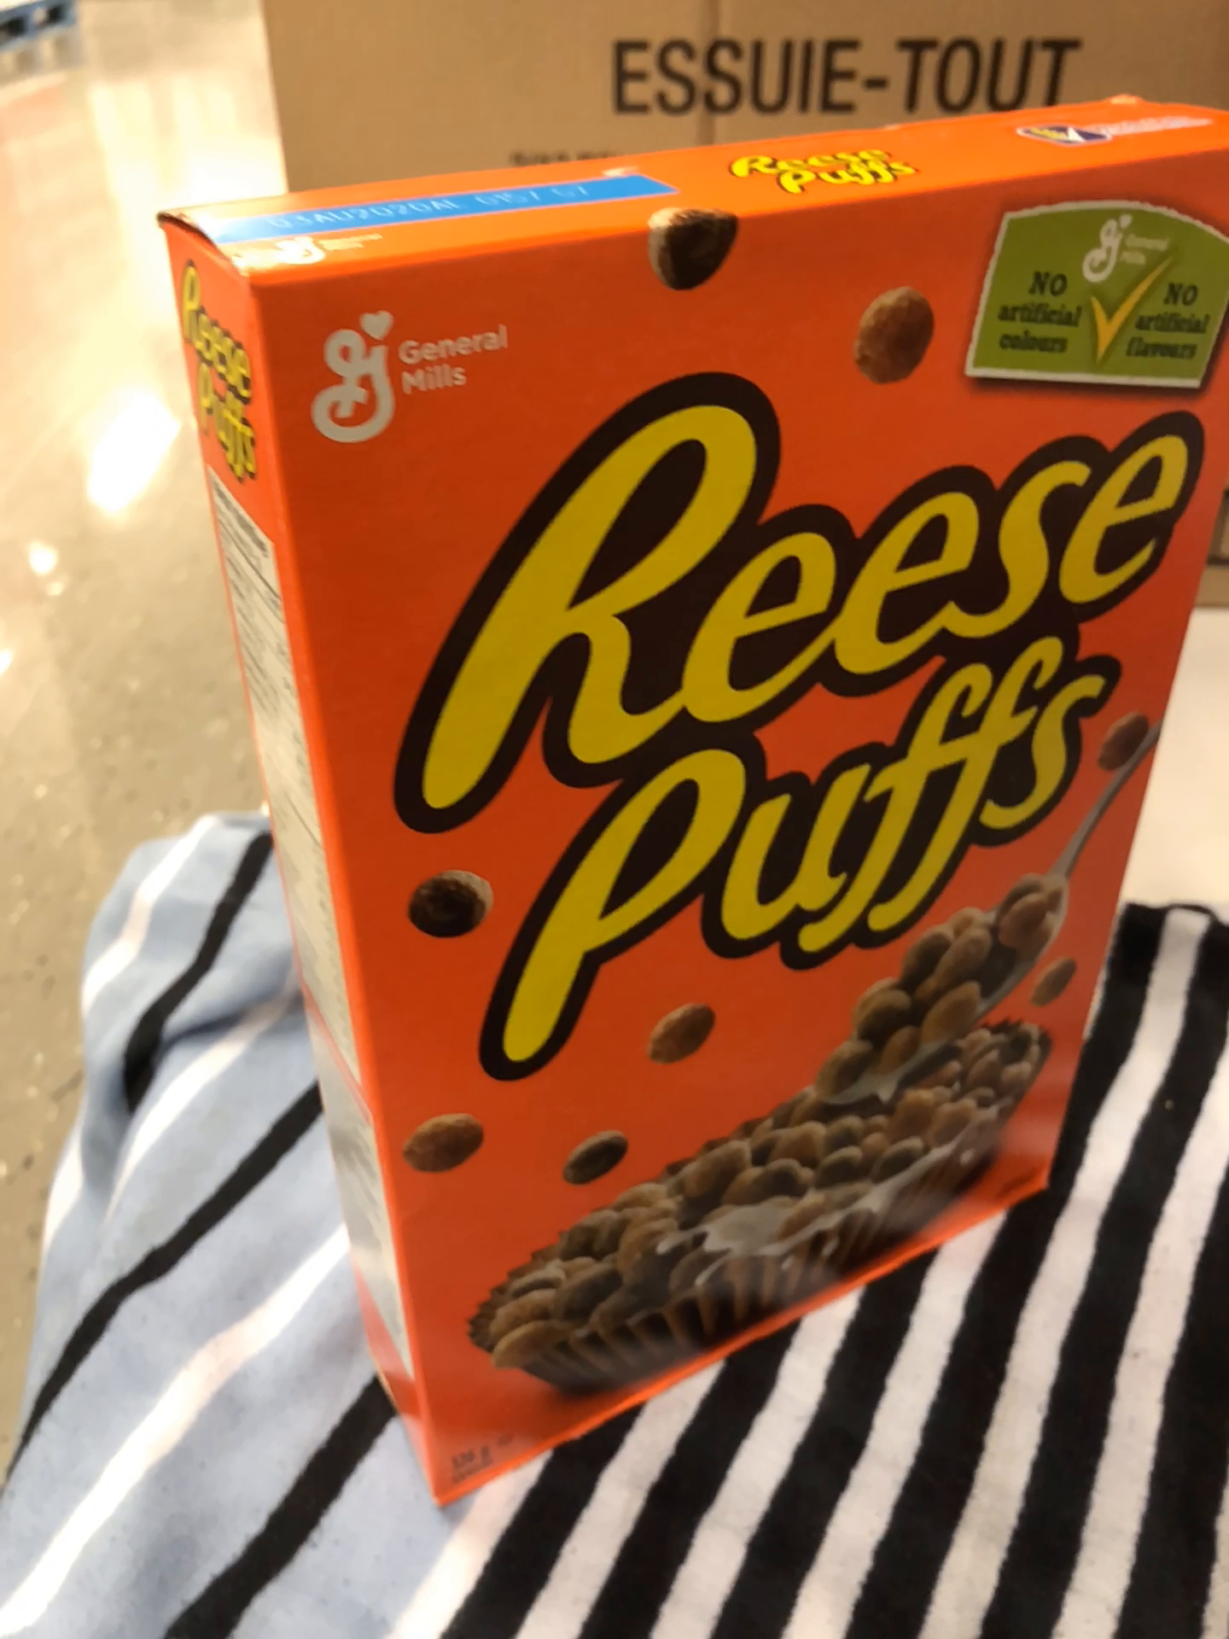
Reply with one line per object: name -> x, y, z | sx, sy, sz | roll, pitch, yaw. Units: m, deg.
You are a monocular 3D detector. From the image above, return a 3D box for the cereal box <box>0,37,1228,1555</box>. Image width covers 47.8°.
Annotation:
cereal box -> 0.026, 0.006, 0.278 | 0.210, 0.269, 0.040 | -19, 38, -23
